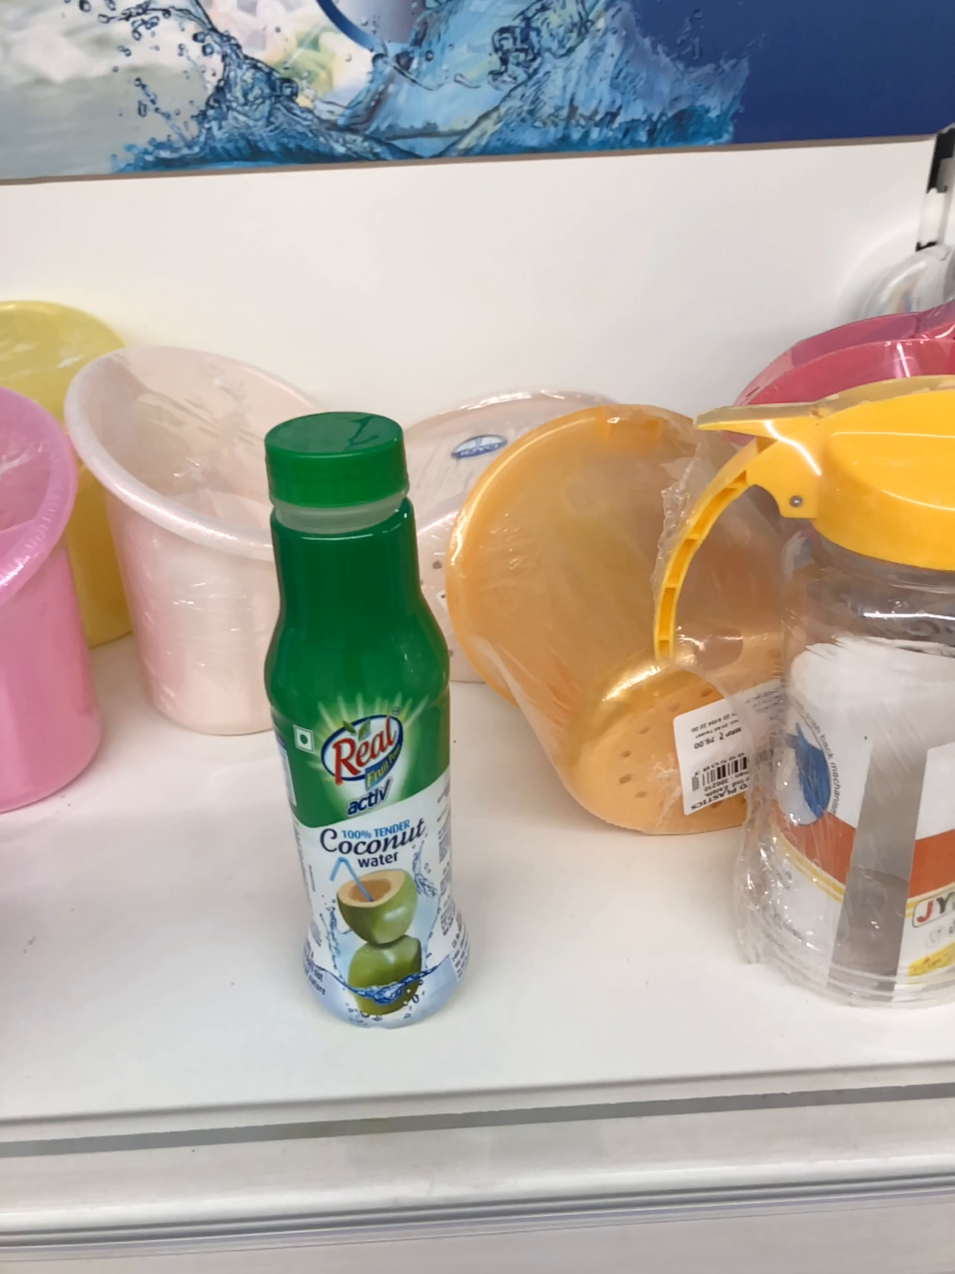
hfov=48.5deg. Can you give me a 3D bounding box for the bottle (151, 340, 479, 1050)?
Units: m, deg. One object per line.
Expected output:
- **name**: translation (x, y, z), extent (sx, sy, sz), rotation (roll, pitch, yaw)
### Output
- **bottle**: translation (-0.036, 0.021, 0.282), extent (0.060, 0.179, 0.060), rotation (-1, 31, 1)
